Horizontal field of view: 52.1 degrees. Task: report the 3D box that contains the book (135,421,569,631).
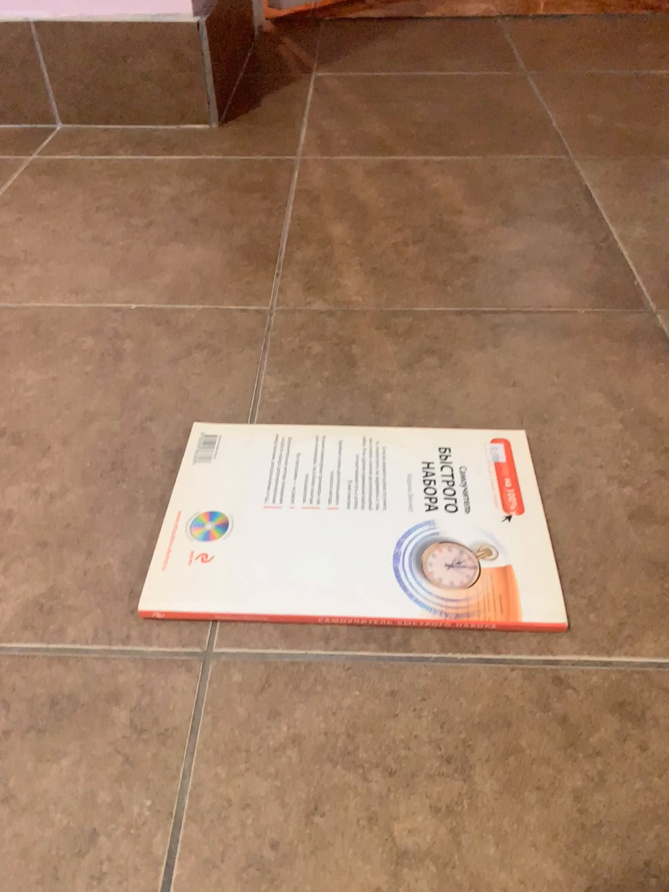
[{"bbox_3d":[0.010,0.037,0.383,0.210,0.009,0.135,1,44,3],"label":"book"}]
